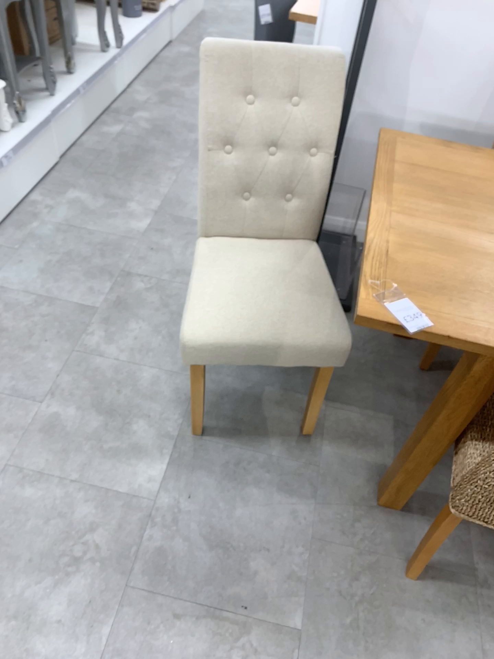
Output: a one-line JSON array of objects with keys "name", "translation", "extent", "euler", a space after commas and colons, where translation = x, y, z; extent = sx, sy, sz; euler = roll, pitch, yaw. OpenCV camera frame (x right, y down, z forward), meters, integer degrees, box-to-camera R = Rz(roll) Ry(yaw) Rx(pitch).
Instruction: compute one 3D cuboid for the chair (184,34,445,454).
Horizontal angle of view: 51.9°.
[{"name": "chair", "translation": [0.051, -0.182, 1.337], "extent": [0.420, 0.872, 0.615], "euler": [-1, 46, -8]}]
